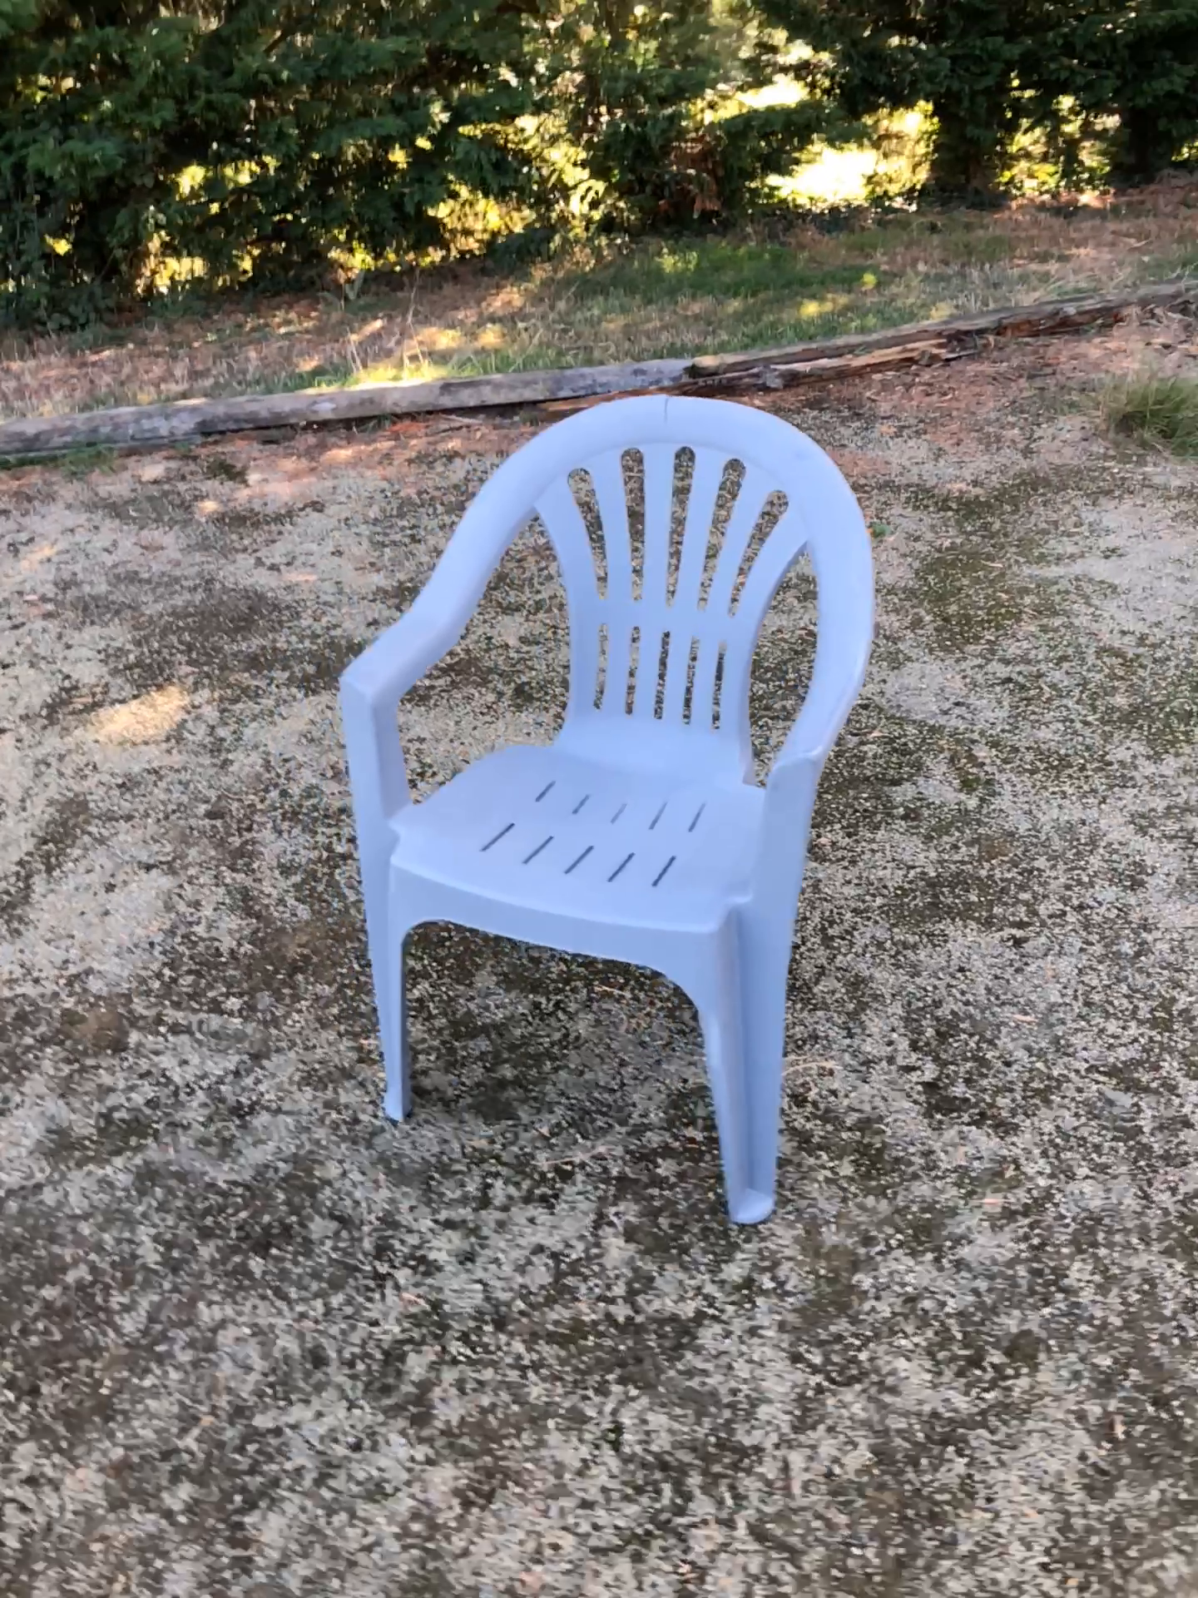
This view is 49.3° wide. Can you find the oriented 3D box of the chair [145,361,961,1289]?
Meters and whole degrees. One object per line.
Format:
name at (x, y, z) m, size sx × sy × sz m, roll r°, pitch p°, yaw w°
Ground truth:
chair at (0.005, -0.017, 1.550) m, size 0.630 × 0.775 × 0.624 m, roll 12°, pitch 36°, yaw 21°
